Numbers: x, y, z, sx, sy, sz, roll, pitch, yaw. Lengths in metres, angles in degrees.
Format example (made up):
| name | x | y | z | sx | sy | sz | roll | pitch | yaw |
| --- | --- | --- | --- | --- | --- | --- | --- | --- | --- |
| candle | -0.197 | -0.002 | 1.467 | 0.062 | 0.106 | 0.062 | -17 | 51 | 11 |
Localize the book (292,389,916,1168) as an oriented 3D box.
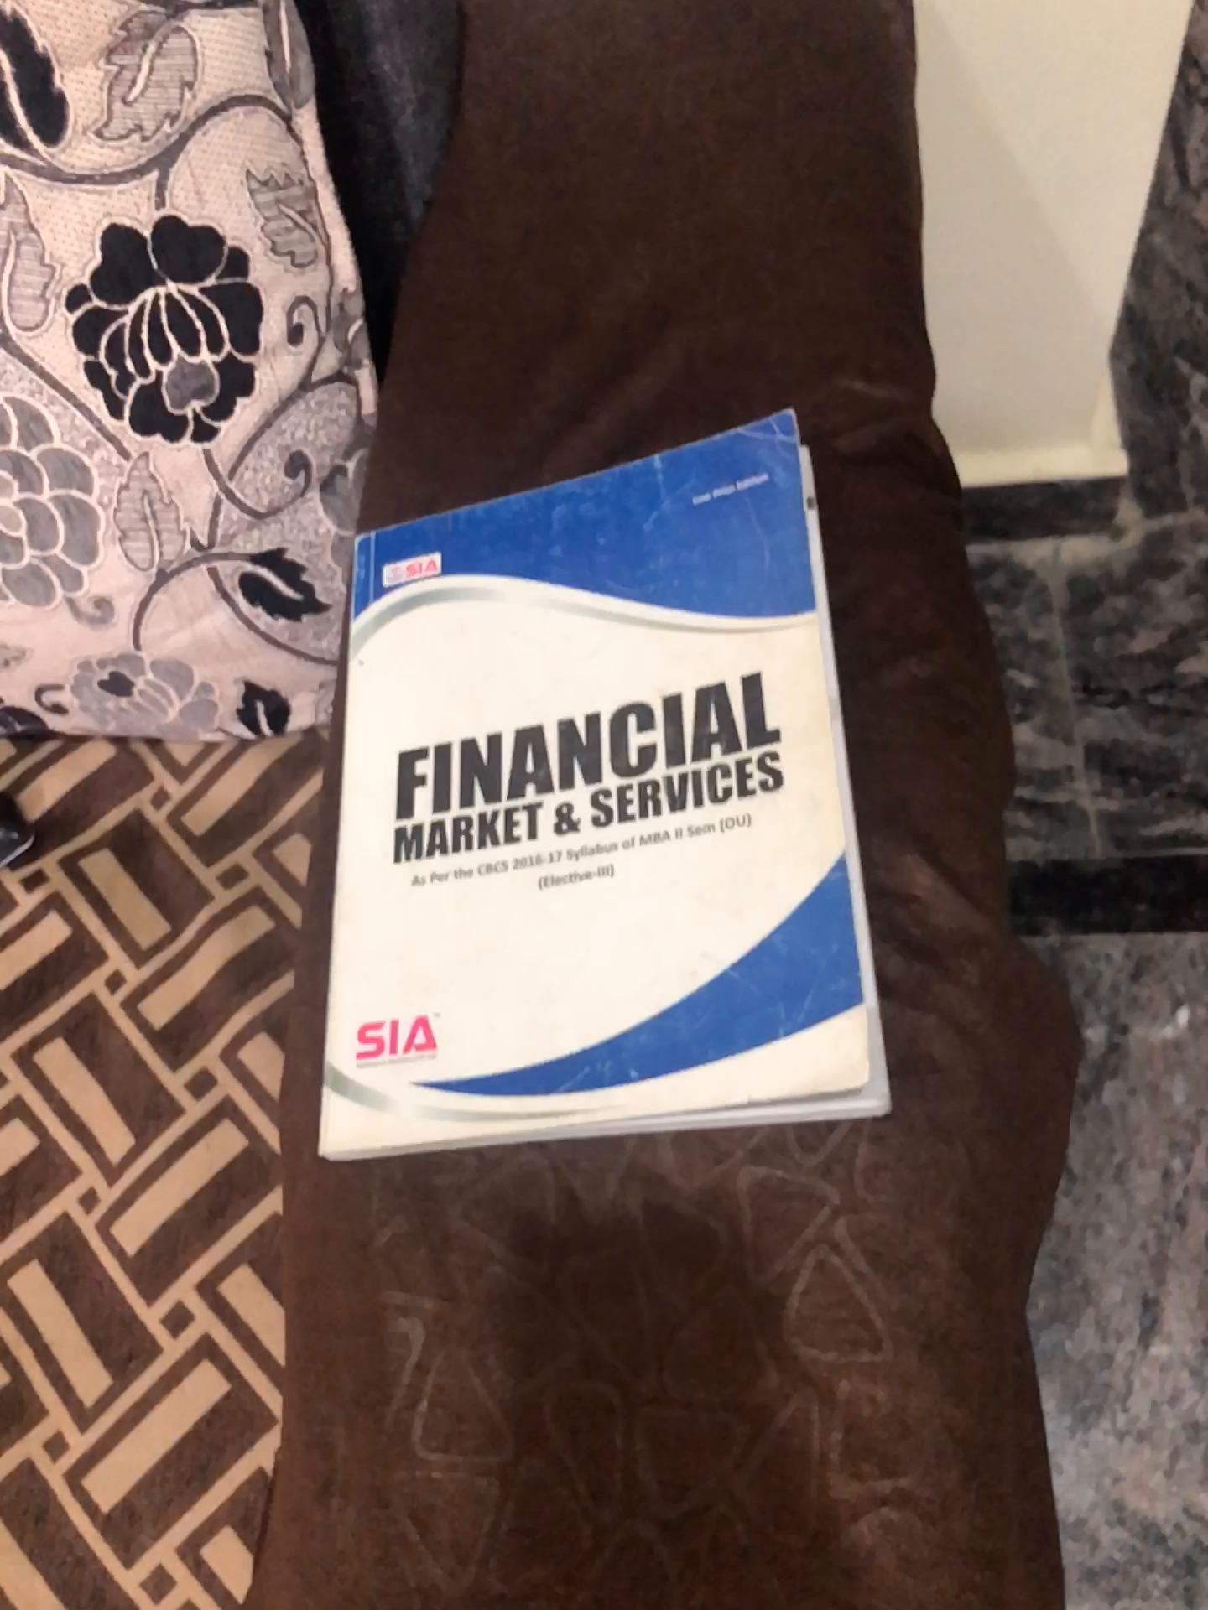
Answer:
| name | x | y | z | sx | sy | sz | roll | pitch | yaw |
| --- | --- | --- | --- | --- | --- | --- | --- | --- | --- |
| book | -0.007 | -0.015 | 0.540 | 0.220 | 0.040 | 0.290 | -10 | 63 | 16 |
